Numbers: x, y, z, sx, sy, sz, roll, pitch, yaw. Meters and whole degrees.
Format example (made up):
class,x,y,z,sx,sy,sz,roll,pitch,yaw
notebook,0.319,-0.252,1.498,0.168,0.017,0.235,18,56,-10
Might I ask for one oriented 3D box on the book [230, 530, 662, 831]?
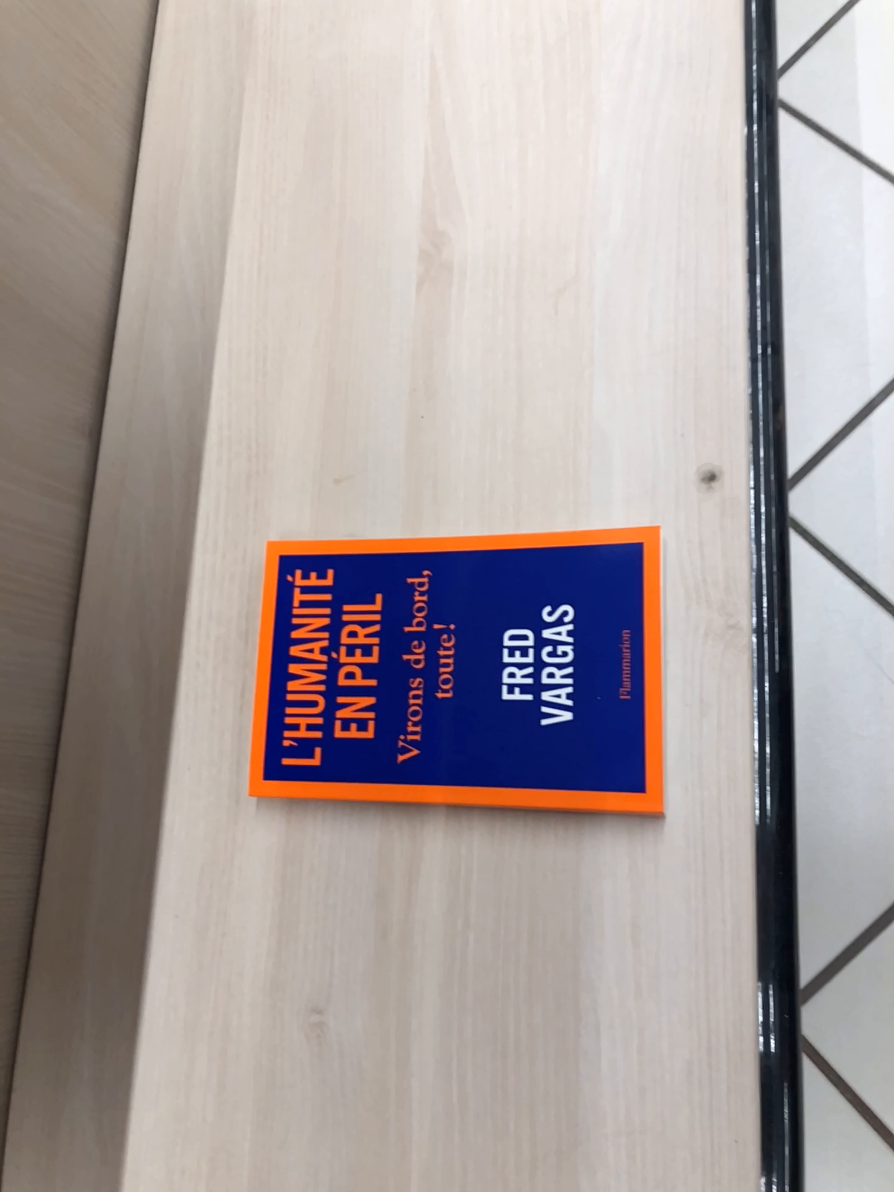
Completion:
class,x,y,z,sx,sy,sz,roll,pitch,yaw
book,0.000,0.040,0.489,0.207,0.030,0.137,-1,76,16
